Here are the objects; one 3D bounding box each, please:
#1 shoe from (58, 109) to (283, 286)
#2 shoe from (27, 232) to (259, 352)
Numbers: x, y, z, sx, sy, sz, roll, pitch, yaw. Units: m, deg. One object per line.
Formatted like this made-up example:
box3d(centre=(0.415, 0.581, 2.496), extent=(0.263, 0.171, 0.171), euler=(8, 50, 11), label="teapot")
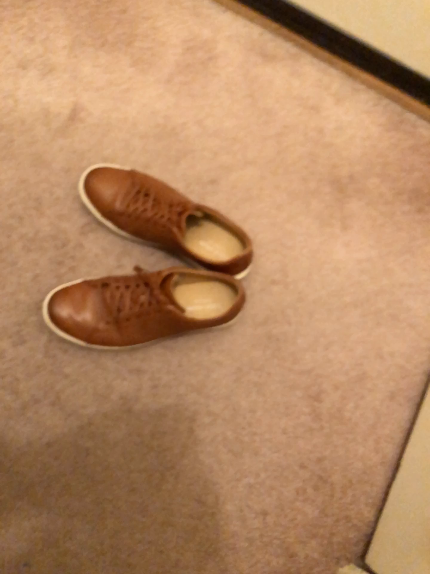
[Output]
box3d(centre=(-0.064, -0.126, 0.713), extent=(0.285, 0.103, 0.117), euler=(25, 73, -2), label="shoe")
box3d(centre=(-0.097, 0.008, 0.672), extent=(0.285, 0.100, 0.117), euler=(-6, 76, -11), label="shoe")
